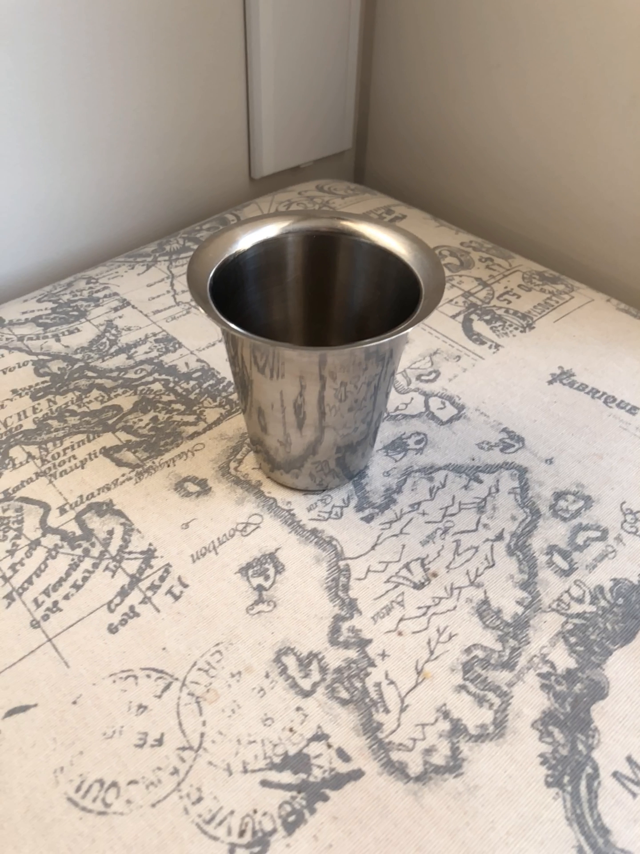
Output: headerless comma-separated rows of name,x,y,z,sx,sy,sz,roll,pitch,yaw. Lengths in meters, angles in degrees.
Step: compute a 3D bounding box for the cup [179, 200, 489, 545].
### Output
cup,0.000,-0.020,0.245,0.081,0.081,0.084,1,42,-1
